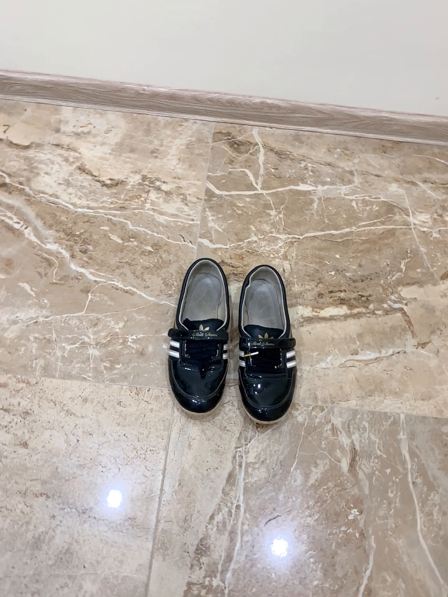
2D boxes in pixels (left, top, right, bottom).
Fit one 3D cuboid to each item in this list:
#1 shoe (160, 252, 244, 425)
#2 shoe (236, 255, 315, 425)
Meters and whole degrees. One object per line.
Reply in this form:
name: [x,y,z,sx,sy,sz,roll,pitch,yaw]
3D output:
shoe: [-0.027,0.051,0.667,0.095,0.060,0.241,5,60,-1]
shoe: [0.068,0.055,0.670,0.095,0.060,0.241,2,60,-3]
